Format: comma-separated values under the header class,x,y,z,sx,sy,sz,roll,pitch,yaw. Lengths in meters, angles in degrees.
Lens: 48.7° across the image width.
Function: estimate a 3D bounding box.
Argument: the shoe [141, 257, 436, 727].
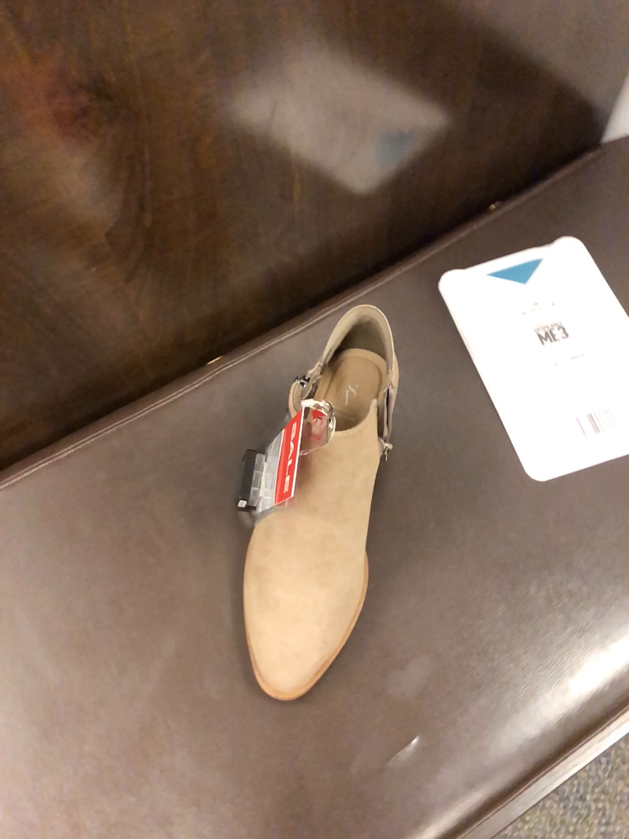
class,x,y,z,sx,sy,sz,roll,pitch,yaw
shoe,-0.003,0.045,0.455,0.097,0.133,0.260,14,64,9
